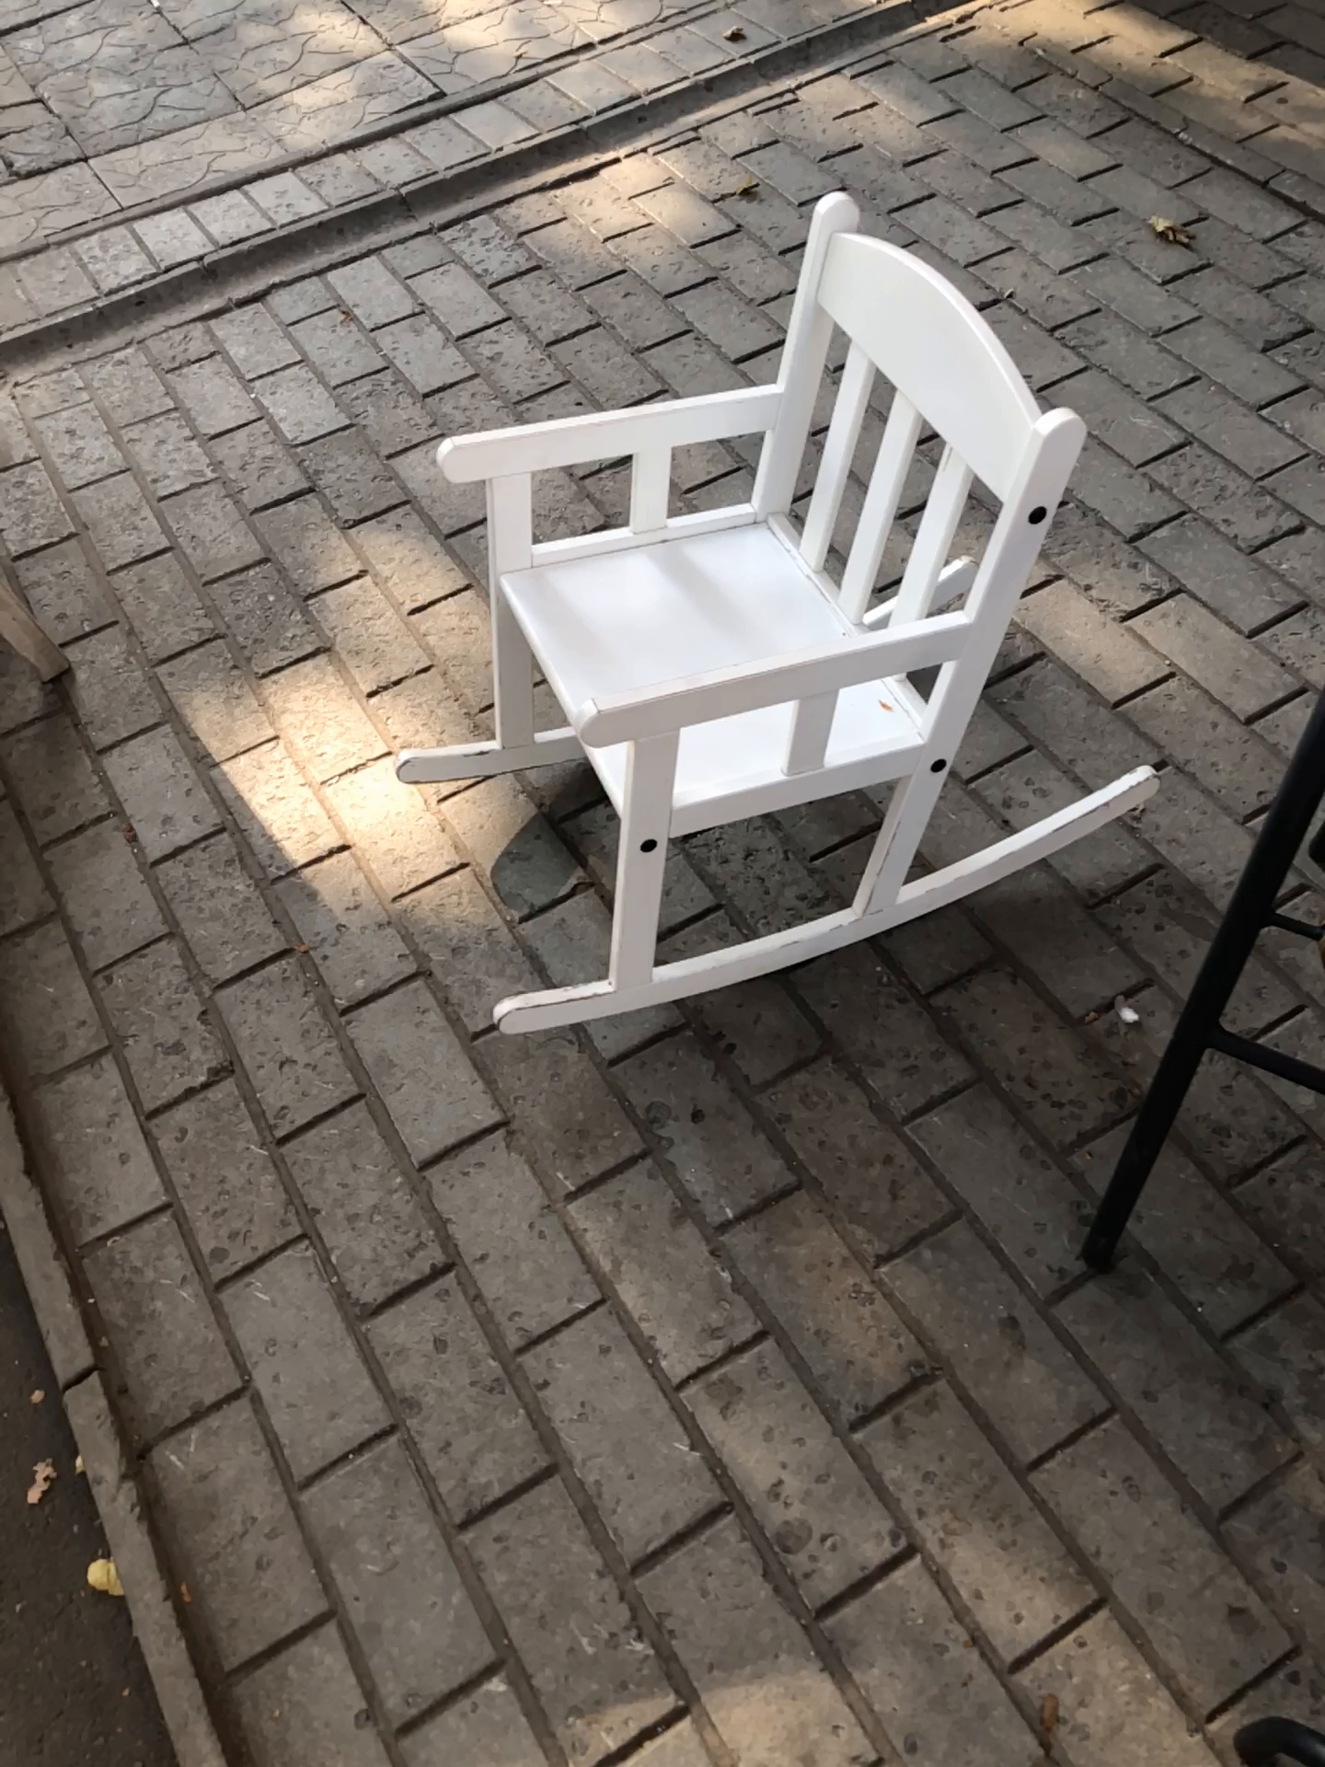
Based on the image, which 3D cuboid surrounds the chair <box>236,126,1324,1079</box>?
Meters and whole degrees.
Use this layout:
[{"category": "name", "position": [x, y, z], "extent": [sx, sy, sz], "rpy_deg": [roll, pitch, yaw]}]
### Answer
[{"category": "chair", "position": [0.096, -0.241, 1.276], "extent": [0.730, 0.518, 0.381], "rpy_deg": [-19, 53, -11]}]
